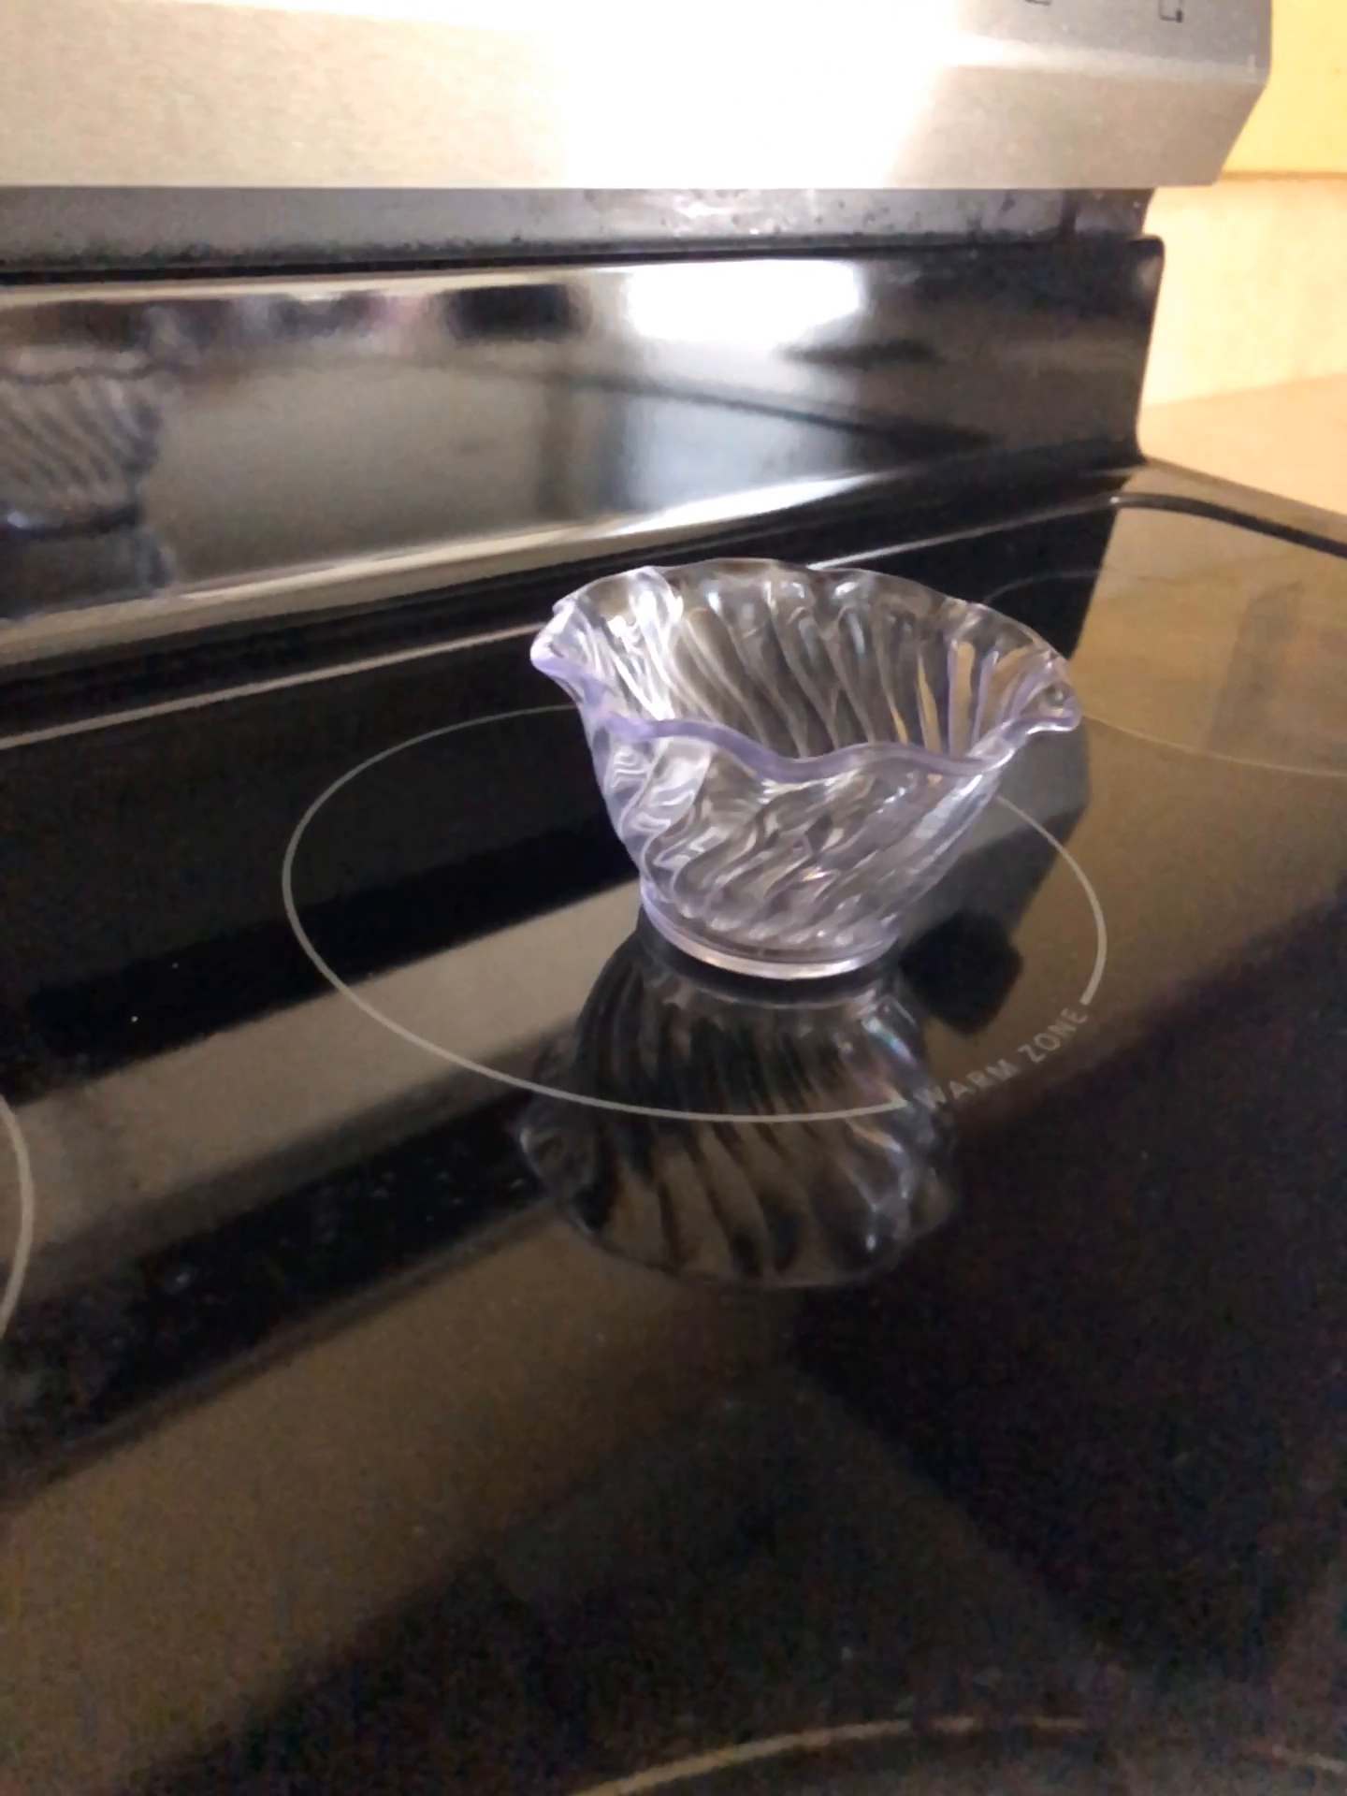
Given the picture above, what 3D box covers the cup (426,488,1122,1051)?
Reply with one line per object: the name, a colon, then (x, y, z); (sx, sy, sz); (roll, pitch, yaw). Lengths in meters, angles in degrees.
cup: (0.018, -0.030, 0.270); (0.100, 0.052, 0.101); (4, 30, -2)
